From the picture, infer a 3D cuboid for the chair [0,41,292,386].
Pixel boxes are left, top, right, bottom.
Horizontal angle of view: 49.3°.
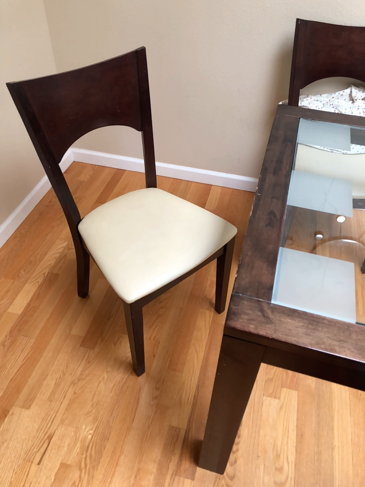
[{"bbox_3d":[-0.121,-0.104,1.401,0.592,0.895,0.572,-32,53,-31],"label":"chair"}]
